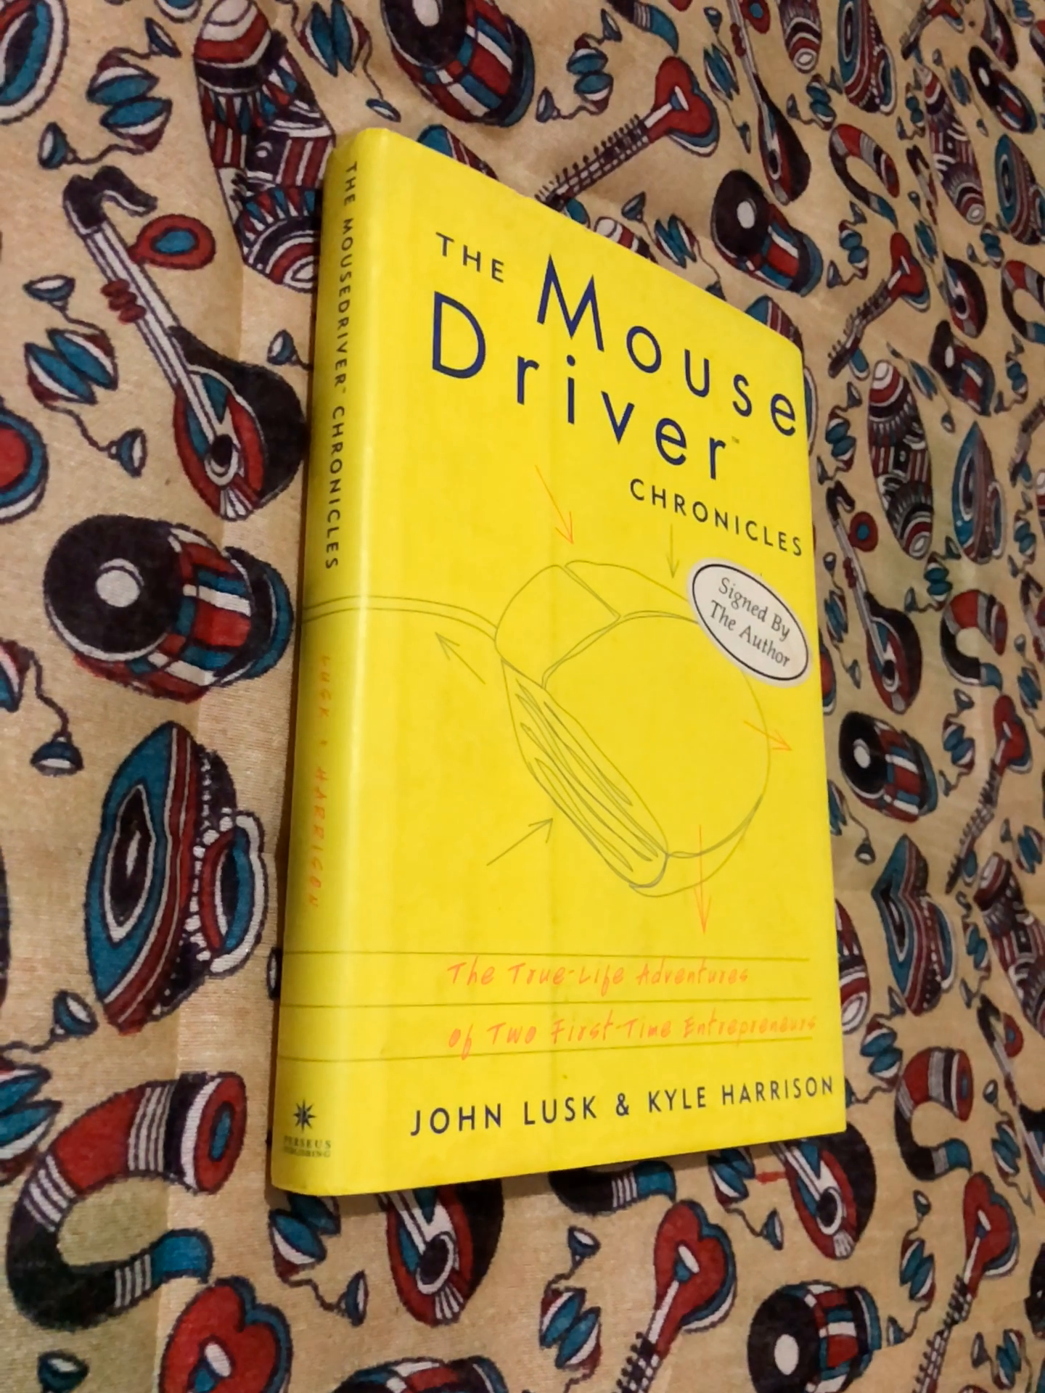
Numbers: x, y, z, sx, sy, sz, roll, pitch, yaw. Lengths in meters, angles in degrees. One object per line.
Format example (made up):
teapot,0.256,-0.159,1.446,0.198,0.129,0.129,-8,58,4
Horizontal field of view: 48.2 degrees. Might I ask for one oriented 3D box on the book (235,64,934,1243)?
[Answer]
book,0.020,-0.006,0.272,0.161,0.040,0.220,12,69,-39
